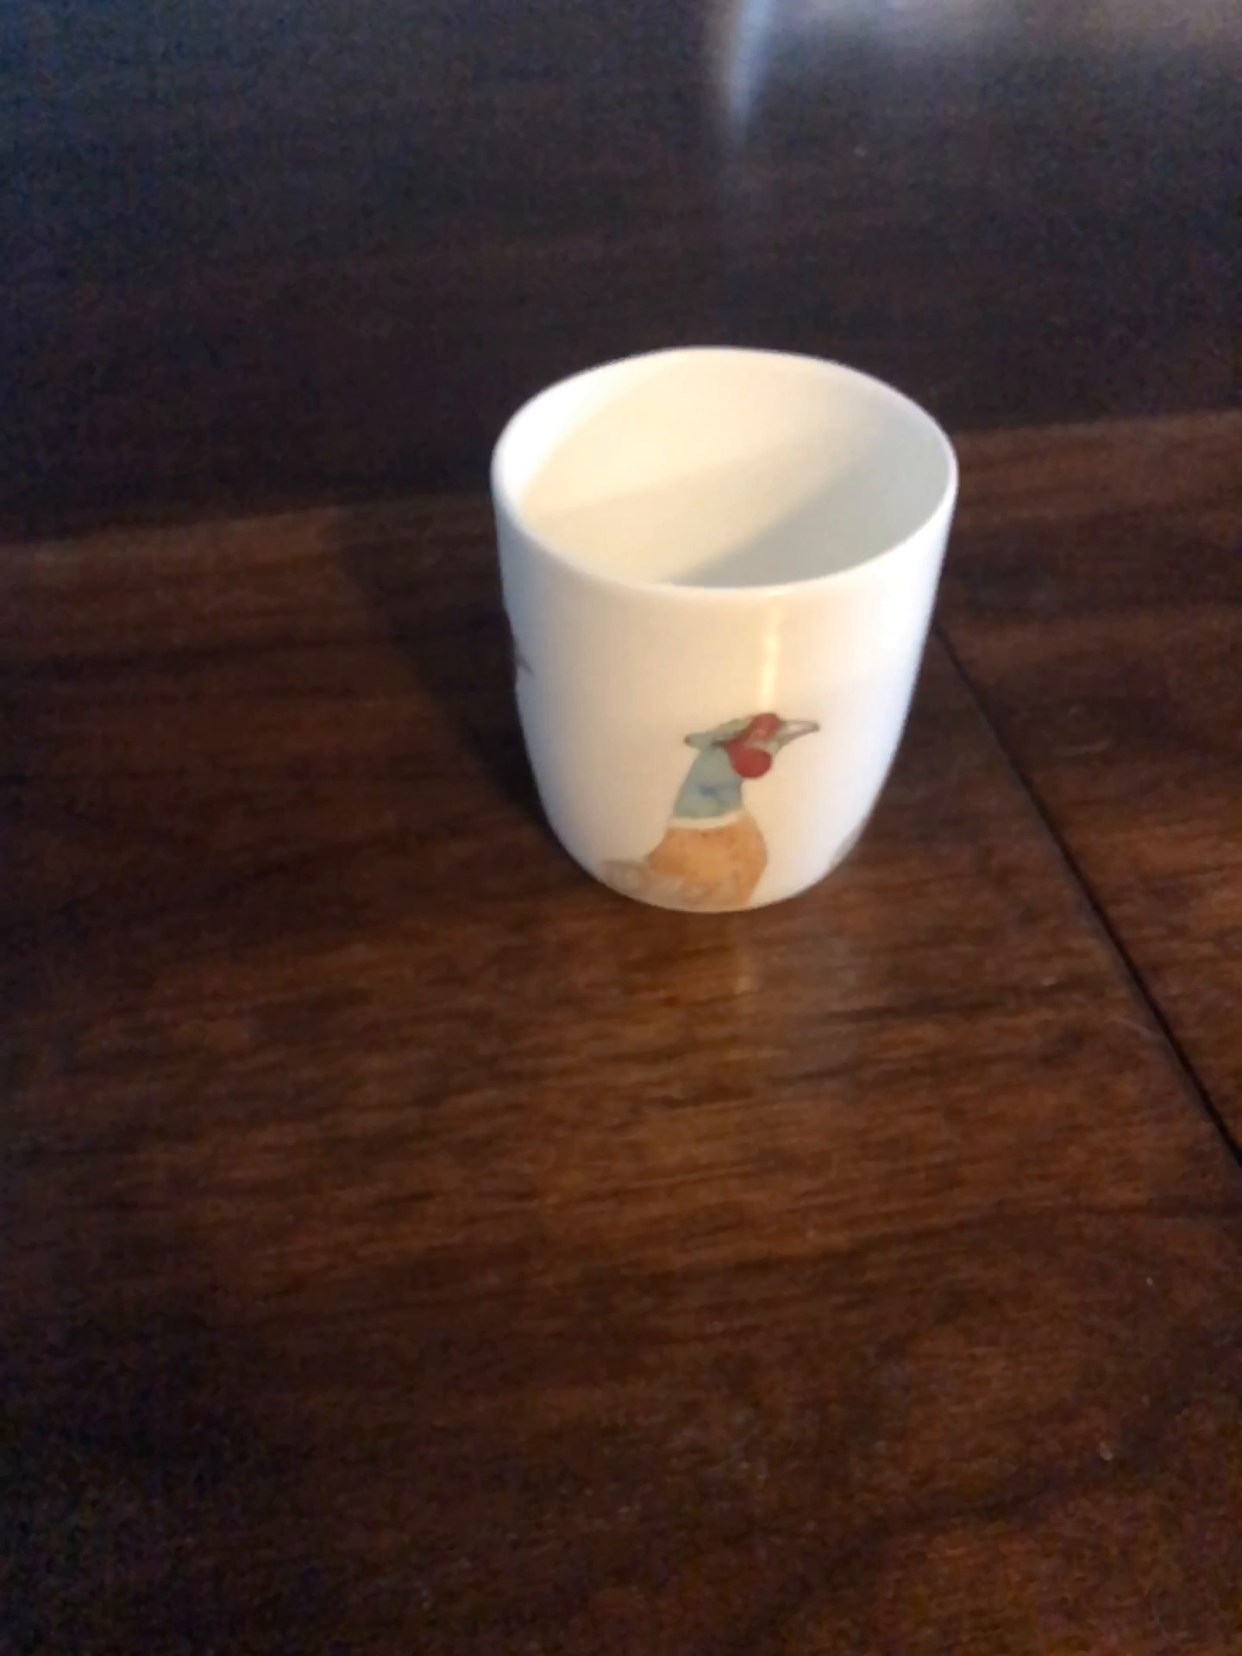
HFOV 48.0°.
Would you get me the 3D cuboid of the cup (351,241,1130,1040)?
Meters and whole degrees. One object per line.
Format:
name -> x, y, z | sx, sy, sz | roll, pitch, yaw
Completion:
cup -> 0.016, -0.047, 0.293 | 0.090, 0.090, 0.130 | -21, 48, -20
